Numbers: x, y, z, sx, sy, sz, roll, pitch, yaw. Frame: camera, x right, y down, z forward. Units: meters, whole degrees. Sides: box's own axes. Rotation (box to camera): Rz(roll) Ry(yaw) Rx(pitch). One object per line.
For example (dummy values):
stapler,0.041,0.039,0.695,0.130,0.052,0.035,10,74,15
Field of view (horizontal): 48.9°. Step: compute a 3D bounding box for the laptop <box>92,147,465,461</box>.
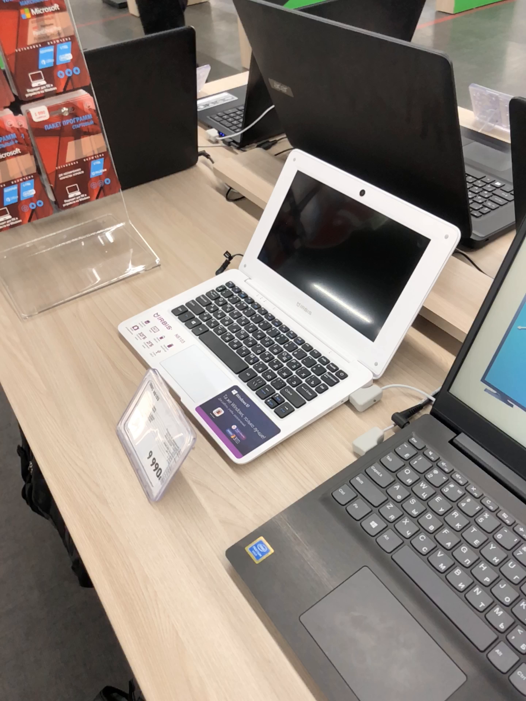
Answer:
laptop,0.011,-0.086,0.713,0.318,0.144,0.297,-29,46,-21
